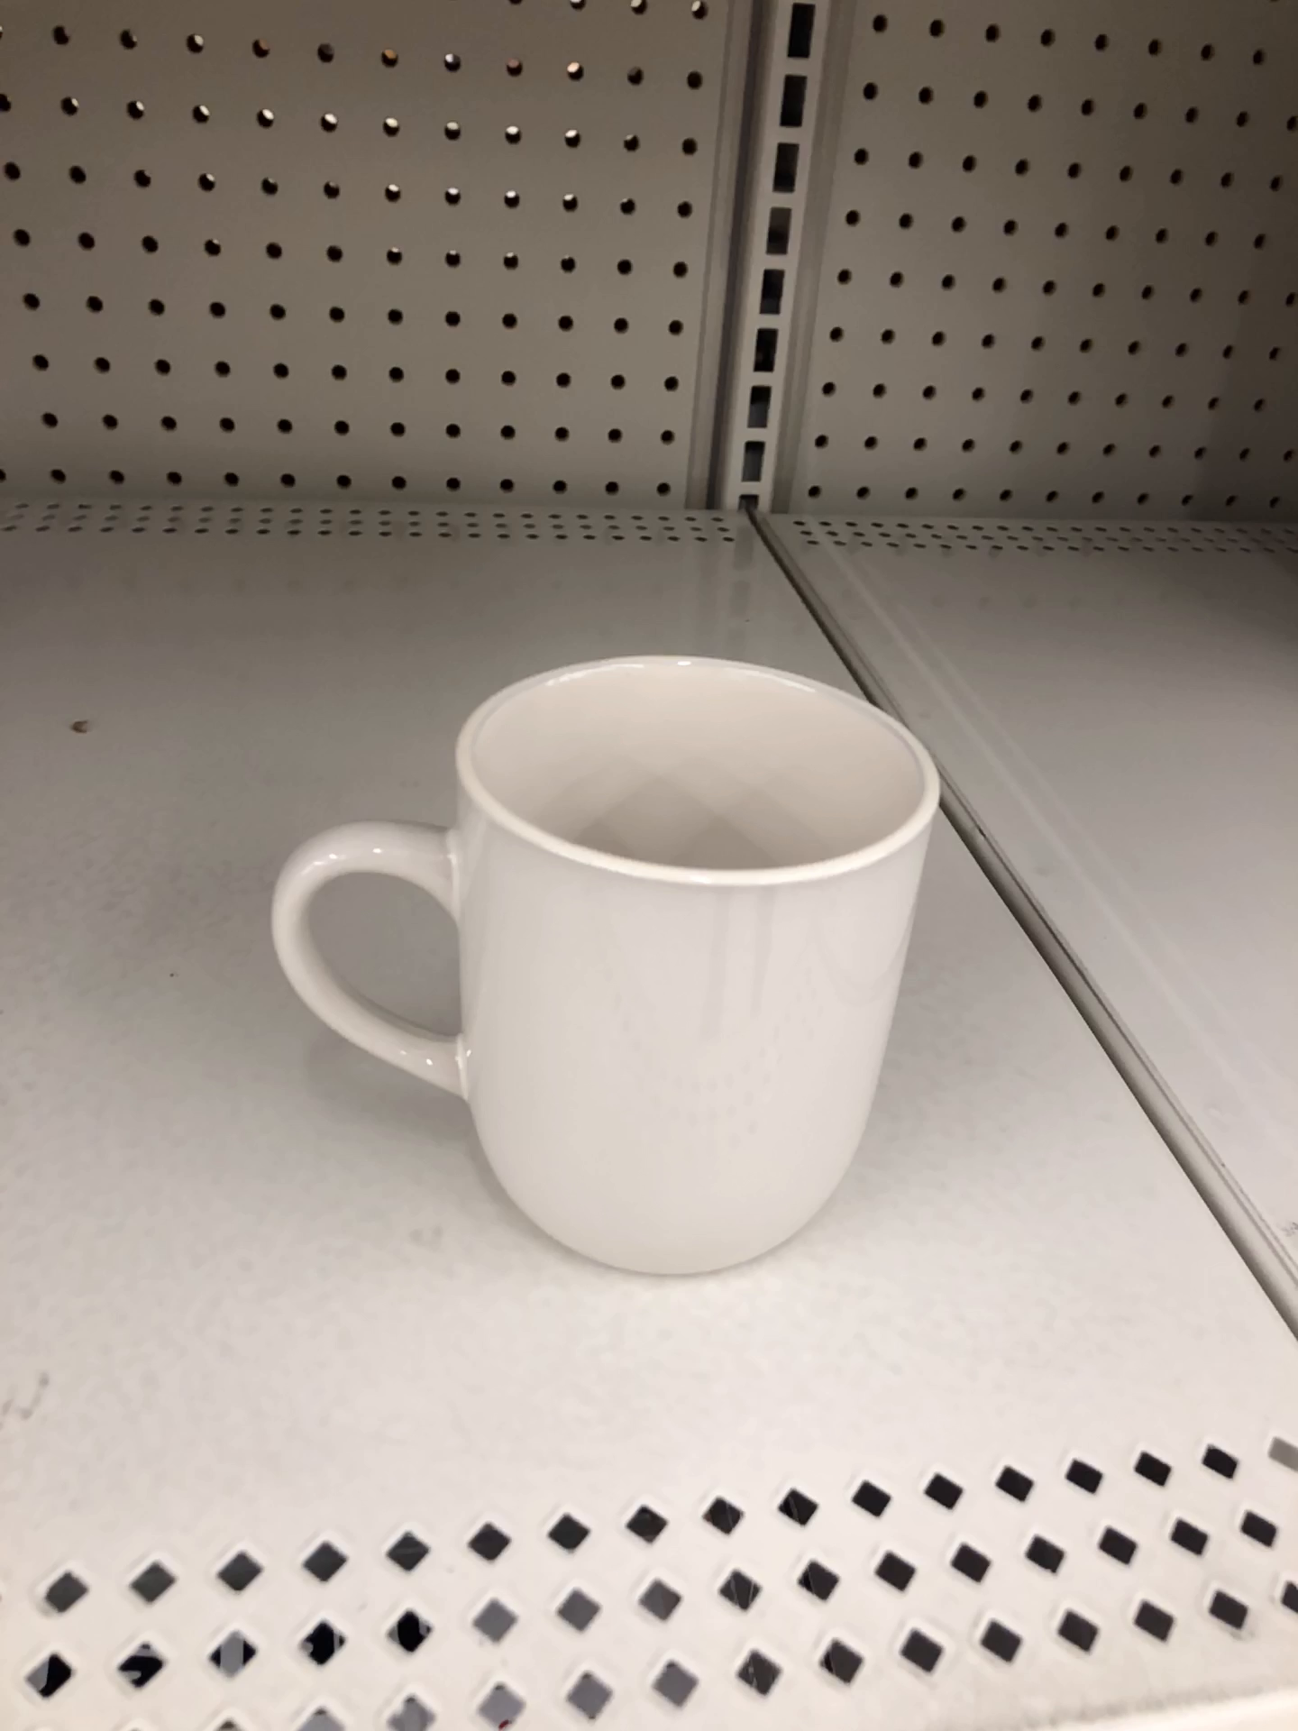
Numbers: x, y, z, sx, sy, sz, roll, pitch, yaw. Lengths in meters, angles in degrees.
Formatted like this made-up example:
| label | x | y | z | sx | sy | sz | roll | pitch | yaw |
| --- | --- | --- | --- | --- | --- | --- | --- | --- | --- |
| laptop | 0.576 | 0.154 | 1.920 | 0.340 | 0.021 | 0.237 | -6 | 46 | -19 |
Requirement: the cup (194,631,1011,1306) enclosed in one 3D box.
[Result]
| label | x | y | z | sx | sy | sz | roll | pitch | yaw |
| --- | --- | --- | --- | --- | --- | --- | --- | --- | --- |
| cup | -0.010 | 0.017 | 0.272 | 0.121 | 0.090 | 0.087 | 2 | 30 | -4 |
